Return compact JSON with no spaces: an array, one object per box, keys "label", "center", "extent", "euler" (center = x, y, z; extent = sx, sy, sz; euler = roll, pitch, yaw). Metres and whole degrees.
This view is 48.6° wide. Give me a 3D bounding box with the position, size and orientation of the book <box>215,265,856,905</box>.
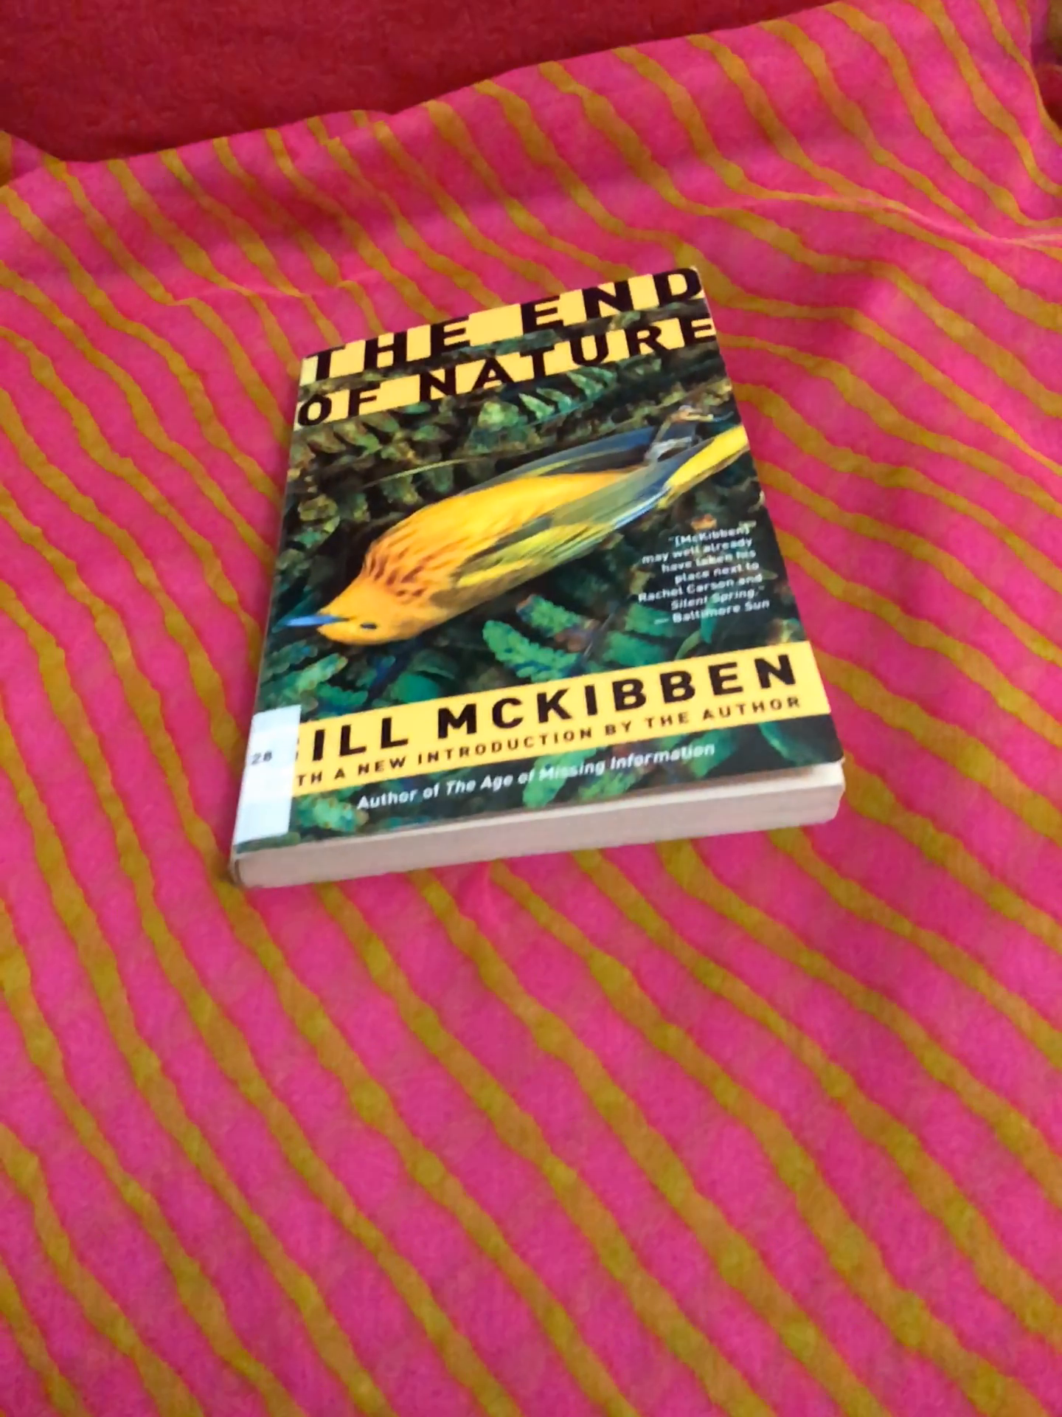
[{"label":"book","center":[-0.005,-0.046,0.309],"extent":[0.131,0.020,0.194],"euler":[-8,50,4]}]
